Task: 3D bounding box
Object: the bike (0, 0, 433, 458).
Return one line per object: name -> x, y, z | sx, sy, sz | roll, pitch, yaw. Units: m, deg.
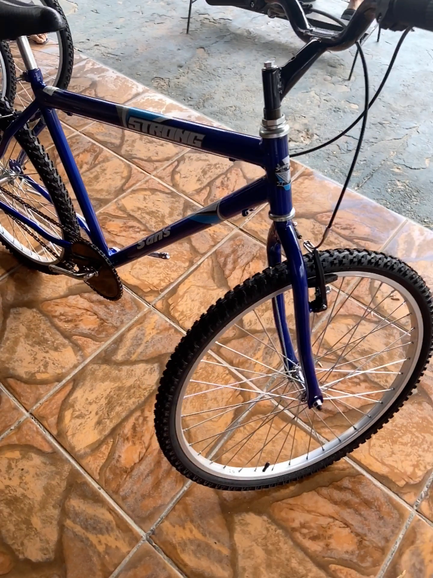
bike -> -0.146, -0.321, 1.114 | 1.525, 1.014, 0.574 | 24, 58, 15
